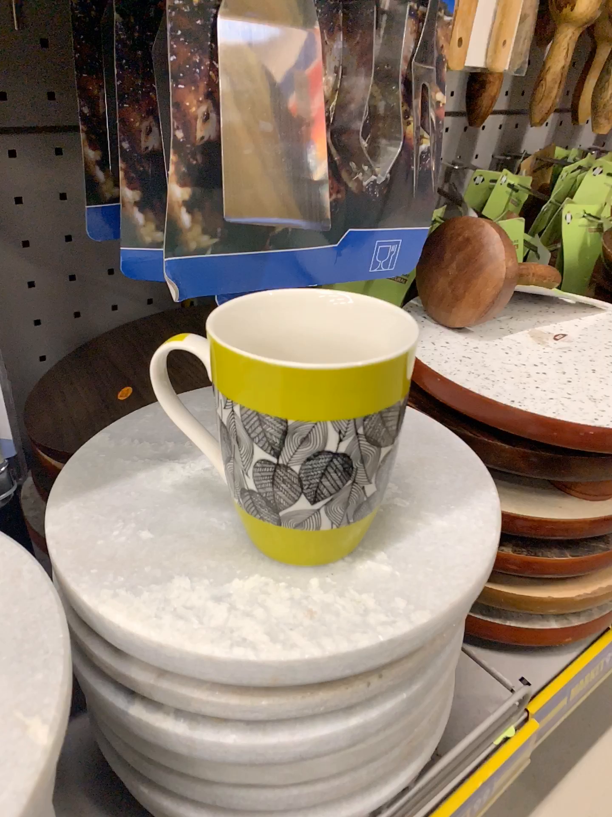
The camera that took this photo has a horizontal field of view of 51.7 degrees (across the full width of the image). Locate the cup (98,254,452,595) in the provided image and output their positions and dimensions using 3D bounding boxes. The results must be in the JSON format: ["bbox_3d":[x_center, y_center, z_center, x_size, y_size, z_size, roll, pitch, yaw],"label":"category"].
[{"bbox_3d":[-0.009,0.000,0.258,0.110,0.090,0.080,13,31,15],"label":"cup"}]
